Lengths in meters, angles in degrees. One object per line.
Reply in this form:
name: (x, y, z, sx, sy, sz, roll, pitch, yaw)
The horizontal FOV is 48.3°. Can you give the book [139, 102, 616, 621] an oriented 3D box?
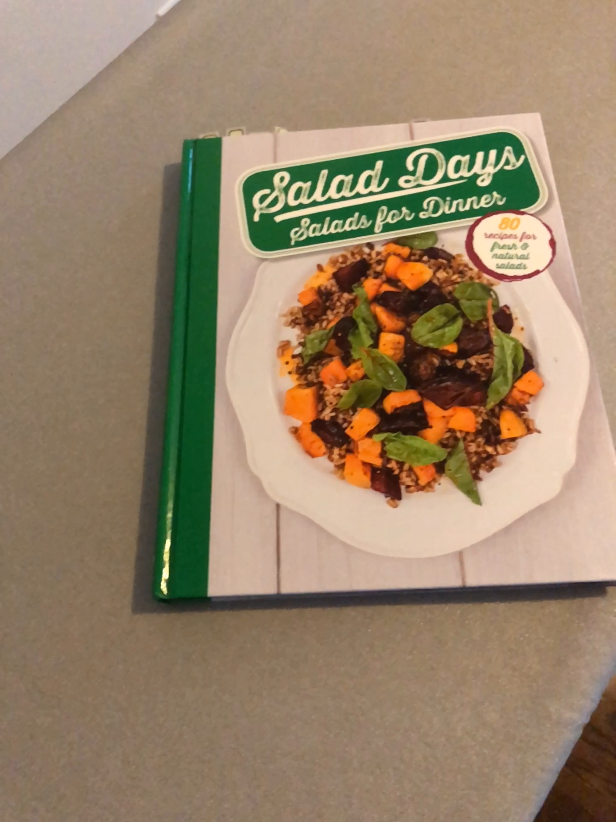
book: (0.033, -0.042, 0.349, 0.213, 0.020, 0.275, -3, 65, 2)
